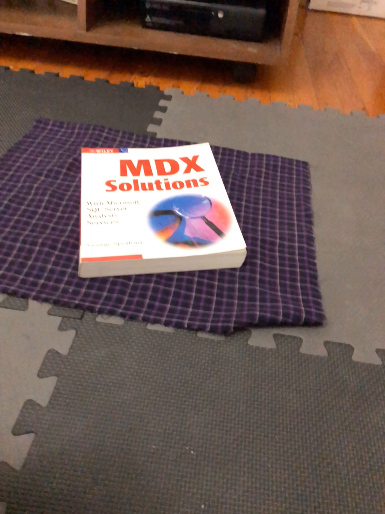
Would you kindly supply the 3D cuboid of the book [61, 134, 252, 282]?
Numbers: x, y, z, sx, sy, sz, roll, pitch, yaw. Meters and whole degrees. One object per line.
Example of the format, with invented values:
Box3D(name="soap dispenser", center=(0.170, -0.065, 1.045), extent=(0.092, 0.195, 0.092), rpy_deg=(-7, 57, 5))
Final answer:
Box3D(name="book", center=(-0.062, -0.086, 0.597), extent=(0.220, 0.050, 0.261), rpy_deg=(-4, 44, -10))
